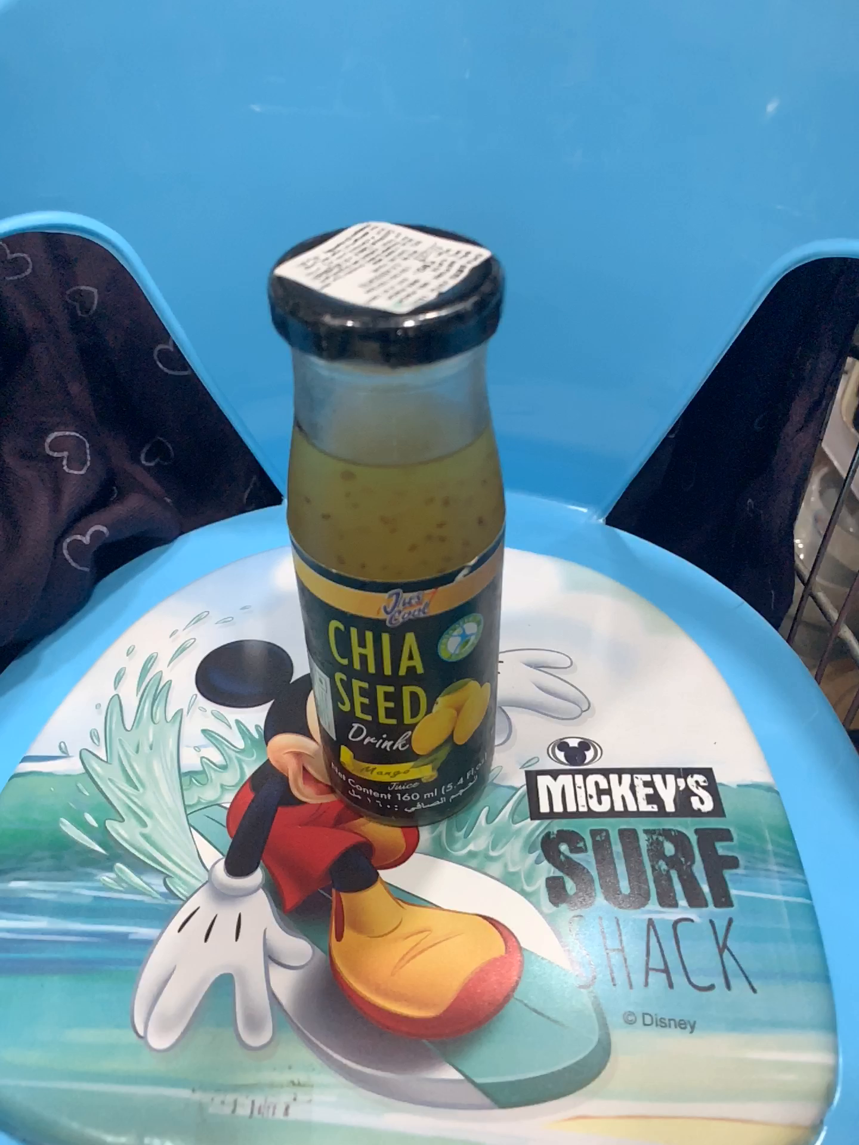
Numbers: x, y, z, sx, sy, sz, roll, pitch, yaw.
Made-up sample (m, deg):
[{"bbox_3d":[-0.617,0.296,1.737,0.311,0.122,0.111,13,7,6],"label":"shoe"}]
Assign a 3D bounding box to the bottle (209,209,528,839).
[{"bbox_3d":[-0.007,-0.004,0.207,0.050,0.139,0.050,-1,38,1],"label":"bottle"}]
